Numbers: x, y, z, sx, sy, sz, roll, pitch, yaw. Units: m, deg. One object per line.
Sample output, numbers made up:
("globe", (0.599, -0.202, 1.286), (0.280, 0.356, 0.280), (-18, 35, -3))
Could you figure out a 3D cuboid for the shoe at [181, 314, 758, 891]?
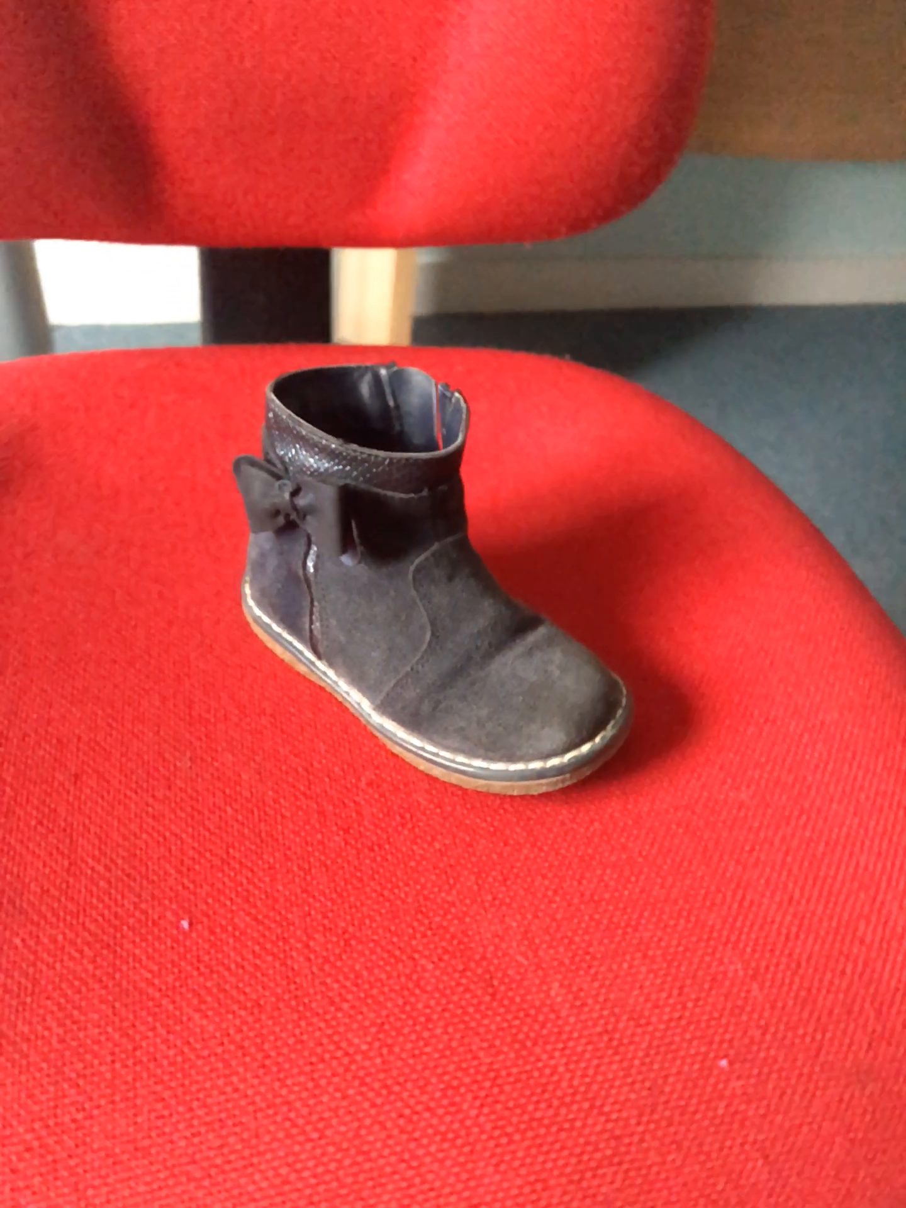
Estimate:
("shoe", (-0.002, -0.005, 0.325), (0.150, 0.099, 0.080), (33, 50, 22))
